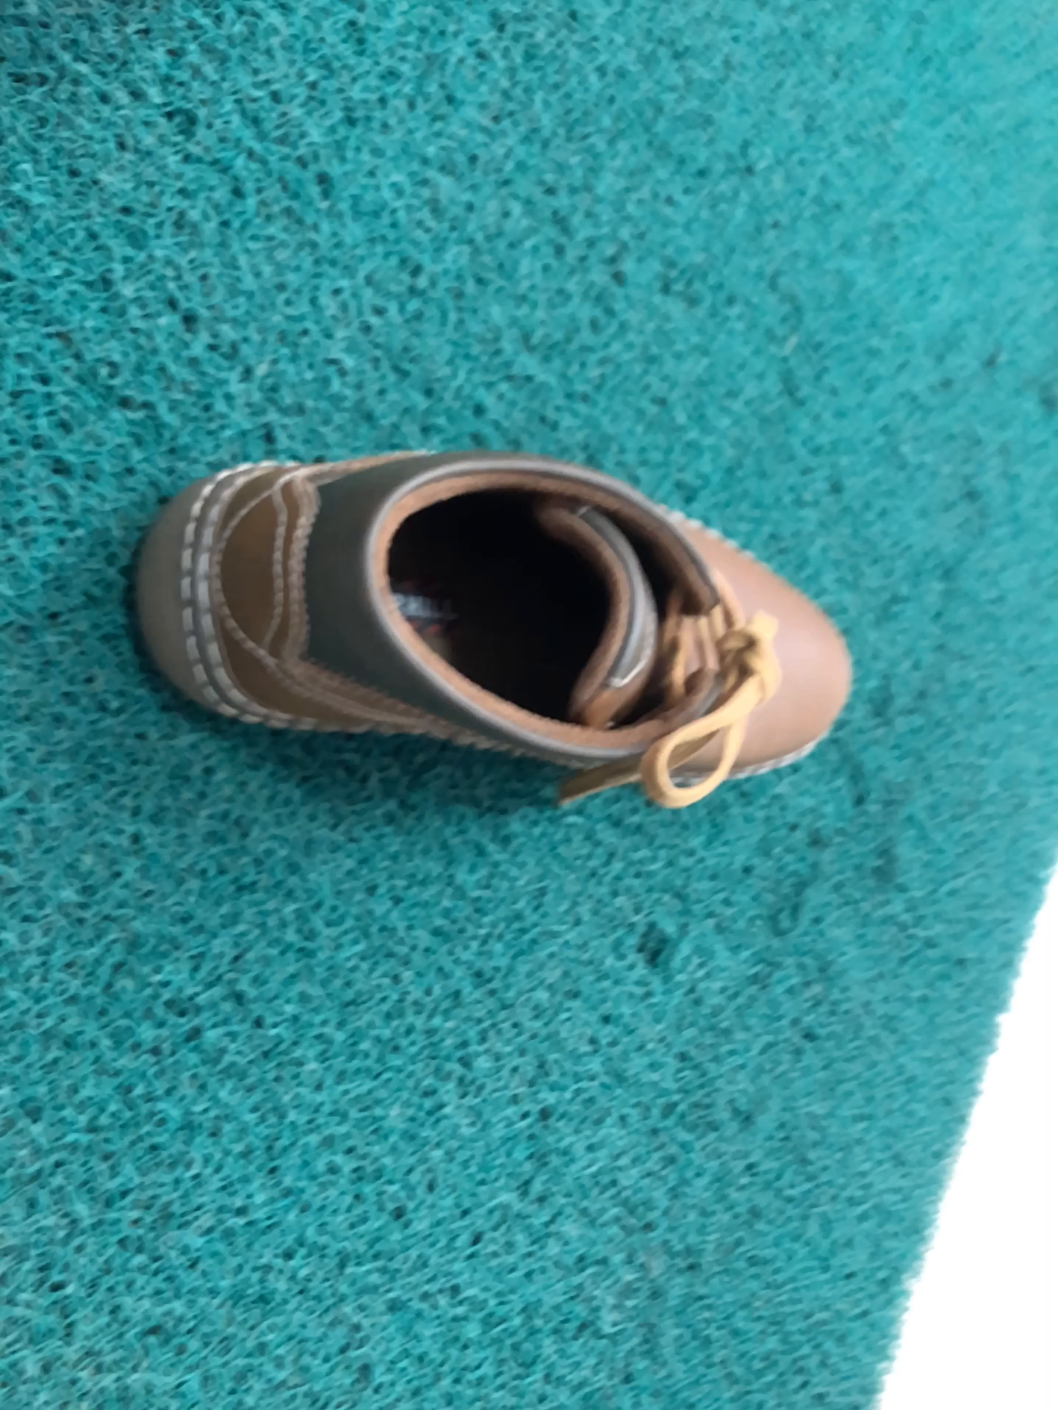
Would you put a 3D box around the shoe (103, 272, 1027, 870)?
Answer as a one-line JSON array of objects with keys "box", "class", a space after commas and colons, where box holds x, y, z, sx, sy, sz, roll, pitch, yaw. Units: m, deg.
[{"box": [0.034, -0.015, 0.353, 0.282, 0.079, 0.100, 12, 80, -37], "class": "shoe"}]
